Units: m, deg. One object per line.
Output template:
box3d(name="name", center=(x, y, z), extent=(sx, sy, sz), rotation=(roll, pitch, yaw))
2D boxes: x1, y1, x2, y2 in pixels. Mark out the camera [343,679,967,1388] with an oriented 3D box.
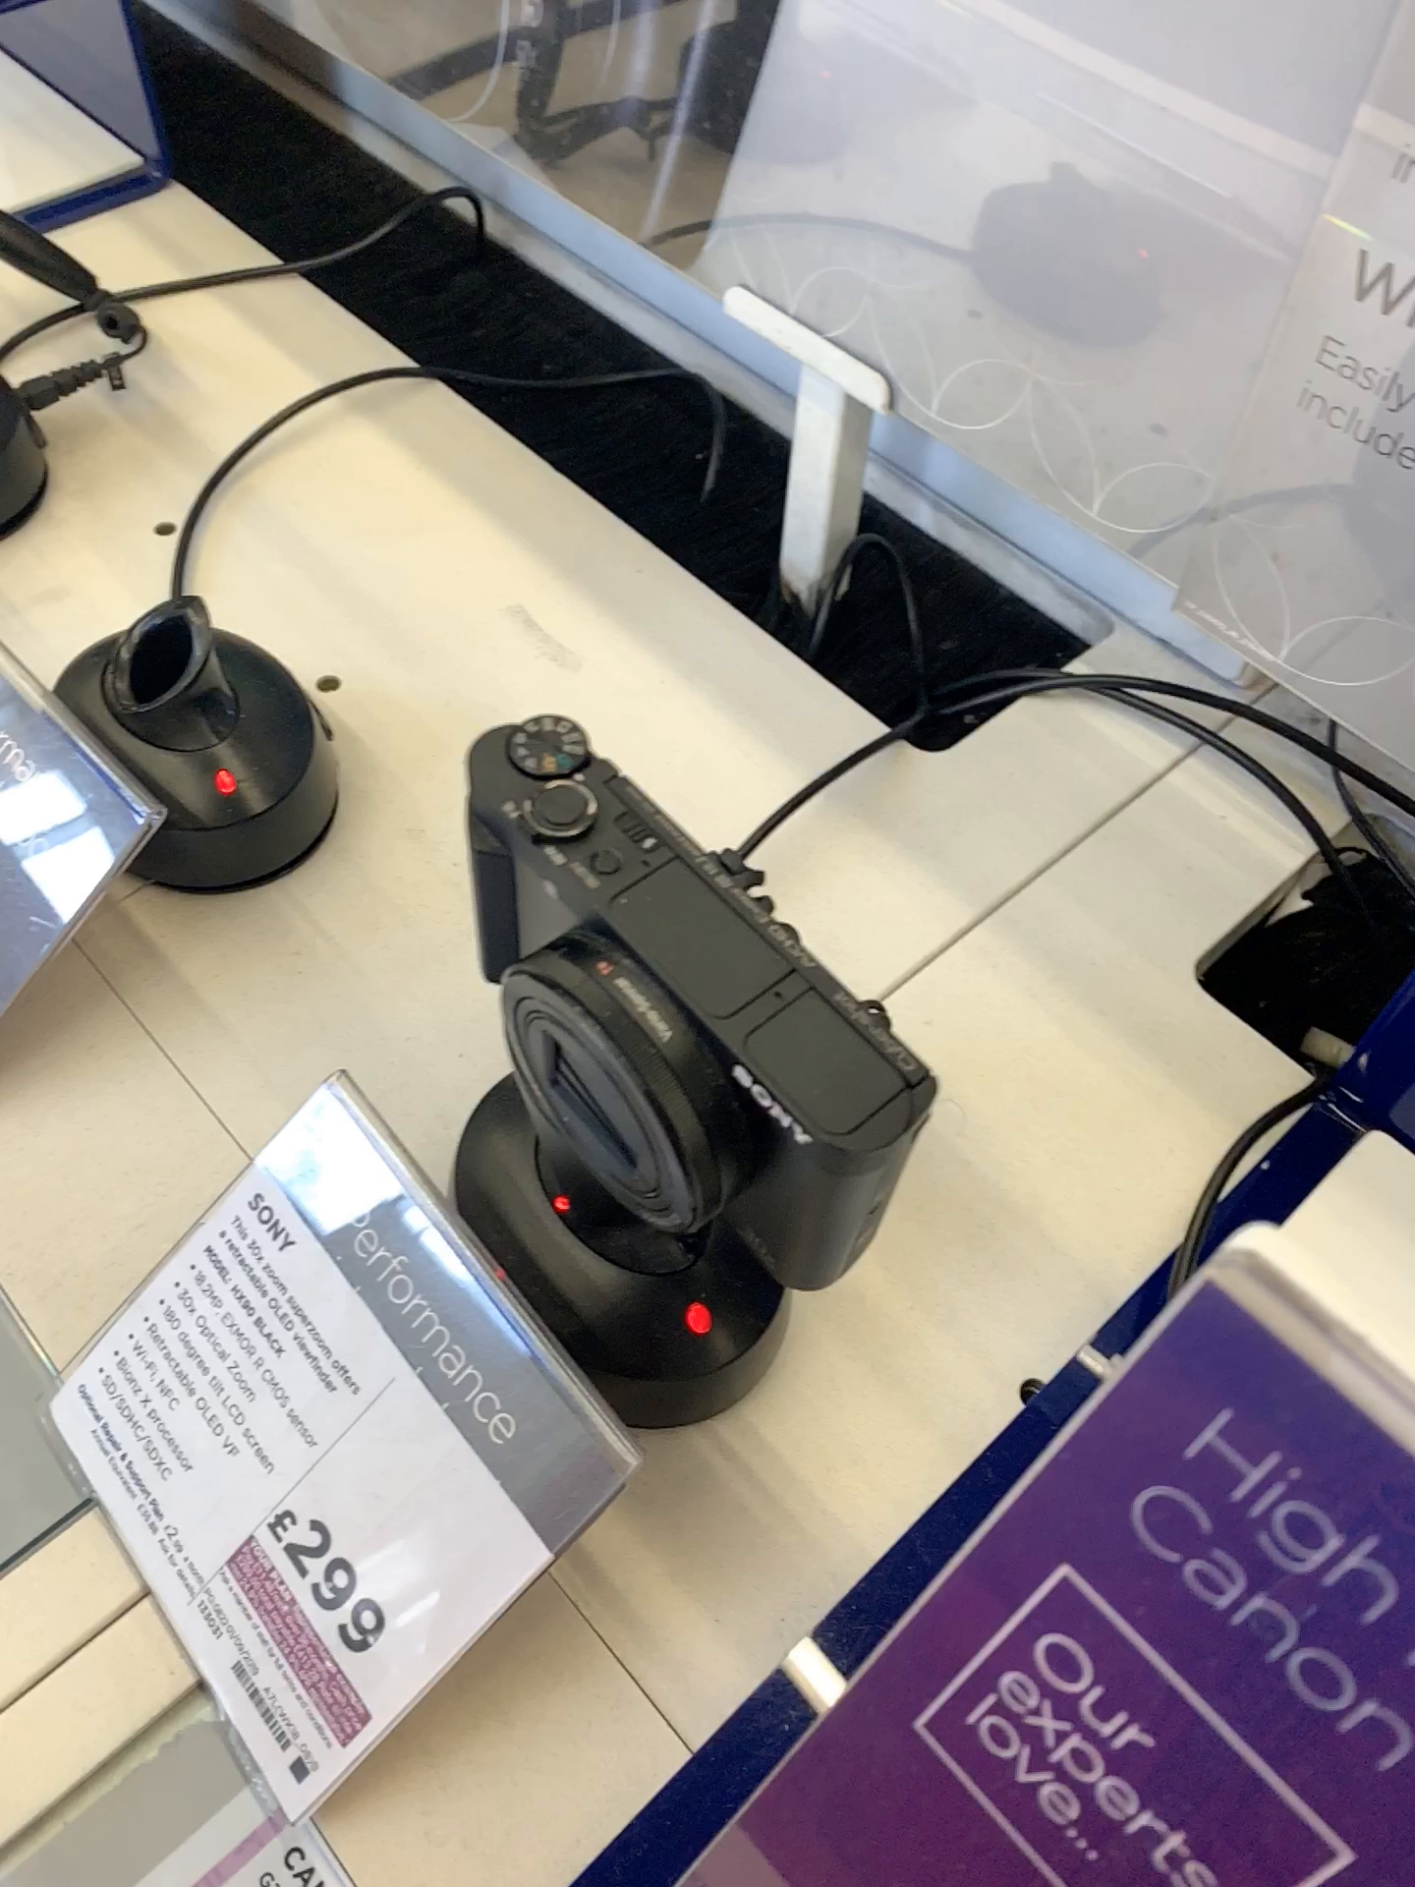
box3d(name="camera", center=(-0.012, 0.014, 0.246), extent=(0.040, 0.060, 0.100), rotation=(-34, 65, -24))
